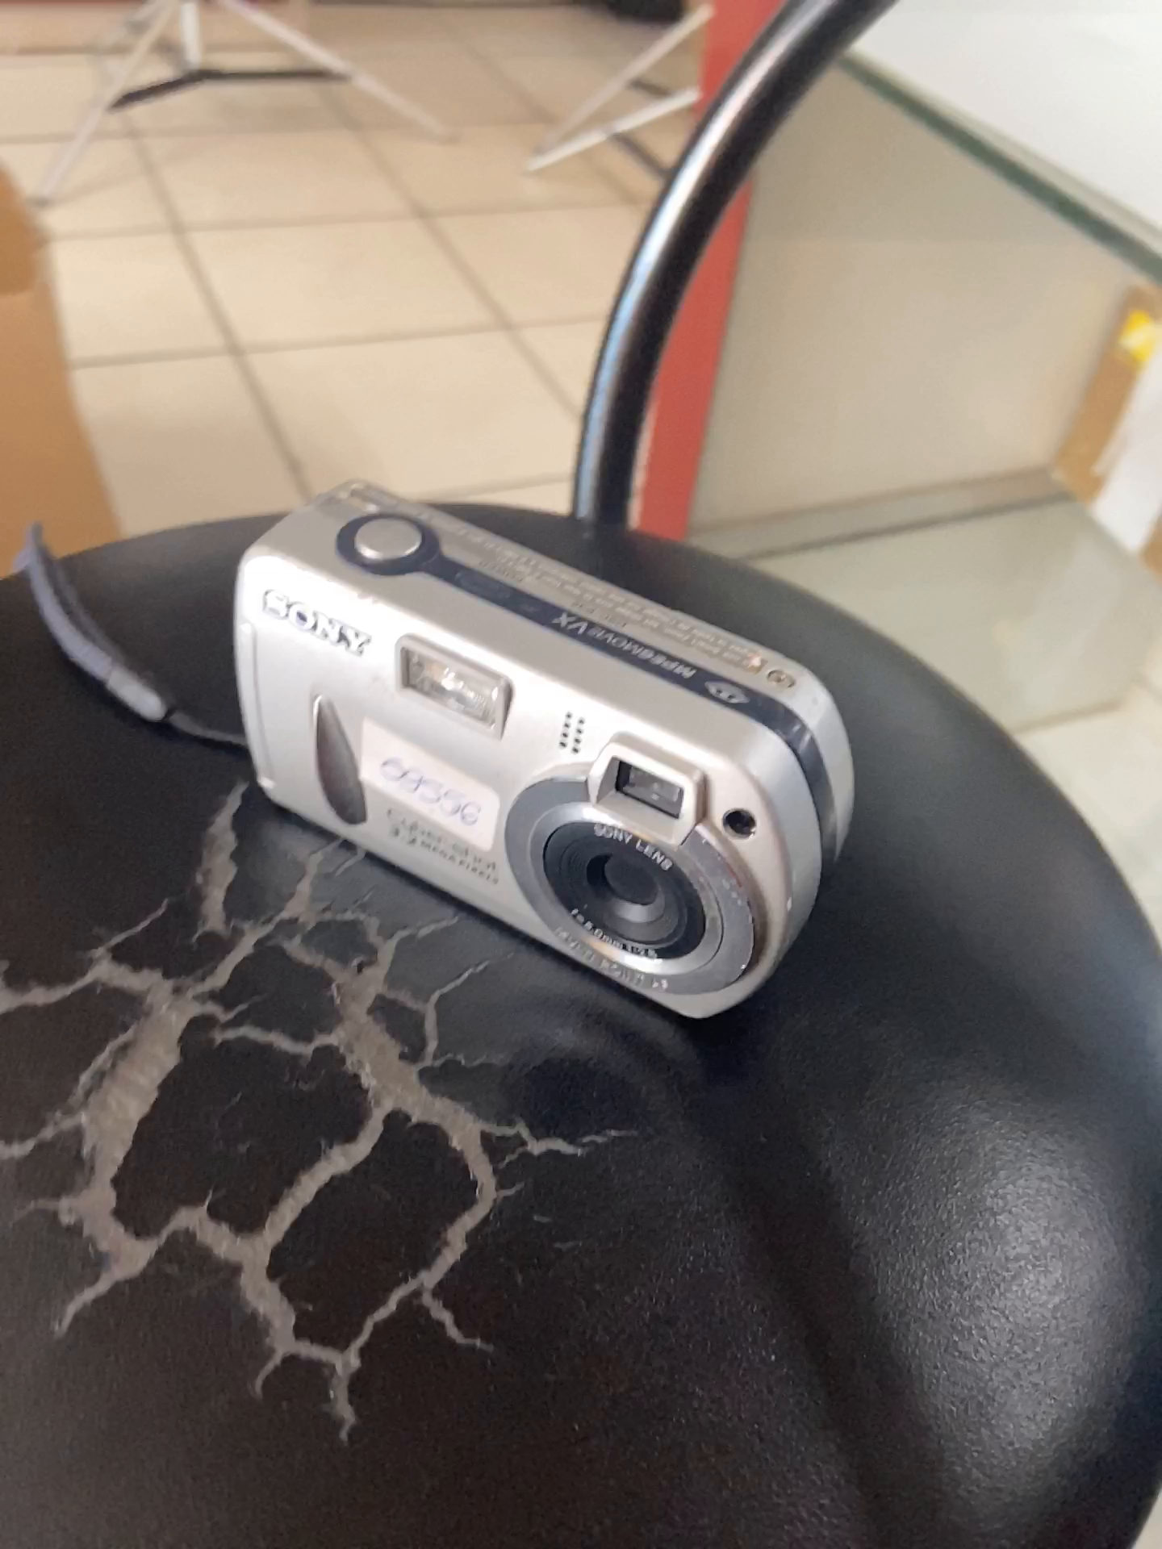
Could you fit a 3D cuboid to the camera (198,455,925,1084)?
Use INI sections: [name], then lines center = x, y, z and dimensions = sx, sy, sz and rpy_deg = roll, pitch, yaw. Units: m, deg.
[camera]
center = -0.006, -0.003, 0.195
dimensions = 0.100, 0.050, 0.040
rpy_deg = 27, 48, 17
